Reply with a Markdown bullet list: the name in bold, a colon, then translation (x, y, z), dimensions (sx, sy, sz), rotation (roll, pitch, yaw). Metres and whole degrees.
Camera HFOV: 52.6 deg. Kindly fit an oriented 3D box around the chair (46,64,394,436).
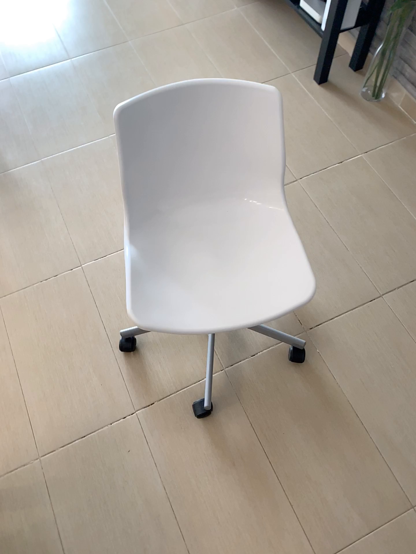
- **chair**: translation (-0.030, -0.043, 1.250), dimensions (0.641, 0.648, 0.781), rotation (-11, 63, -4)
